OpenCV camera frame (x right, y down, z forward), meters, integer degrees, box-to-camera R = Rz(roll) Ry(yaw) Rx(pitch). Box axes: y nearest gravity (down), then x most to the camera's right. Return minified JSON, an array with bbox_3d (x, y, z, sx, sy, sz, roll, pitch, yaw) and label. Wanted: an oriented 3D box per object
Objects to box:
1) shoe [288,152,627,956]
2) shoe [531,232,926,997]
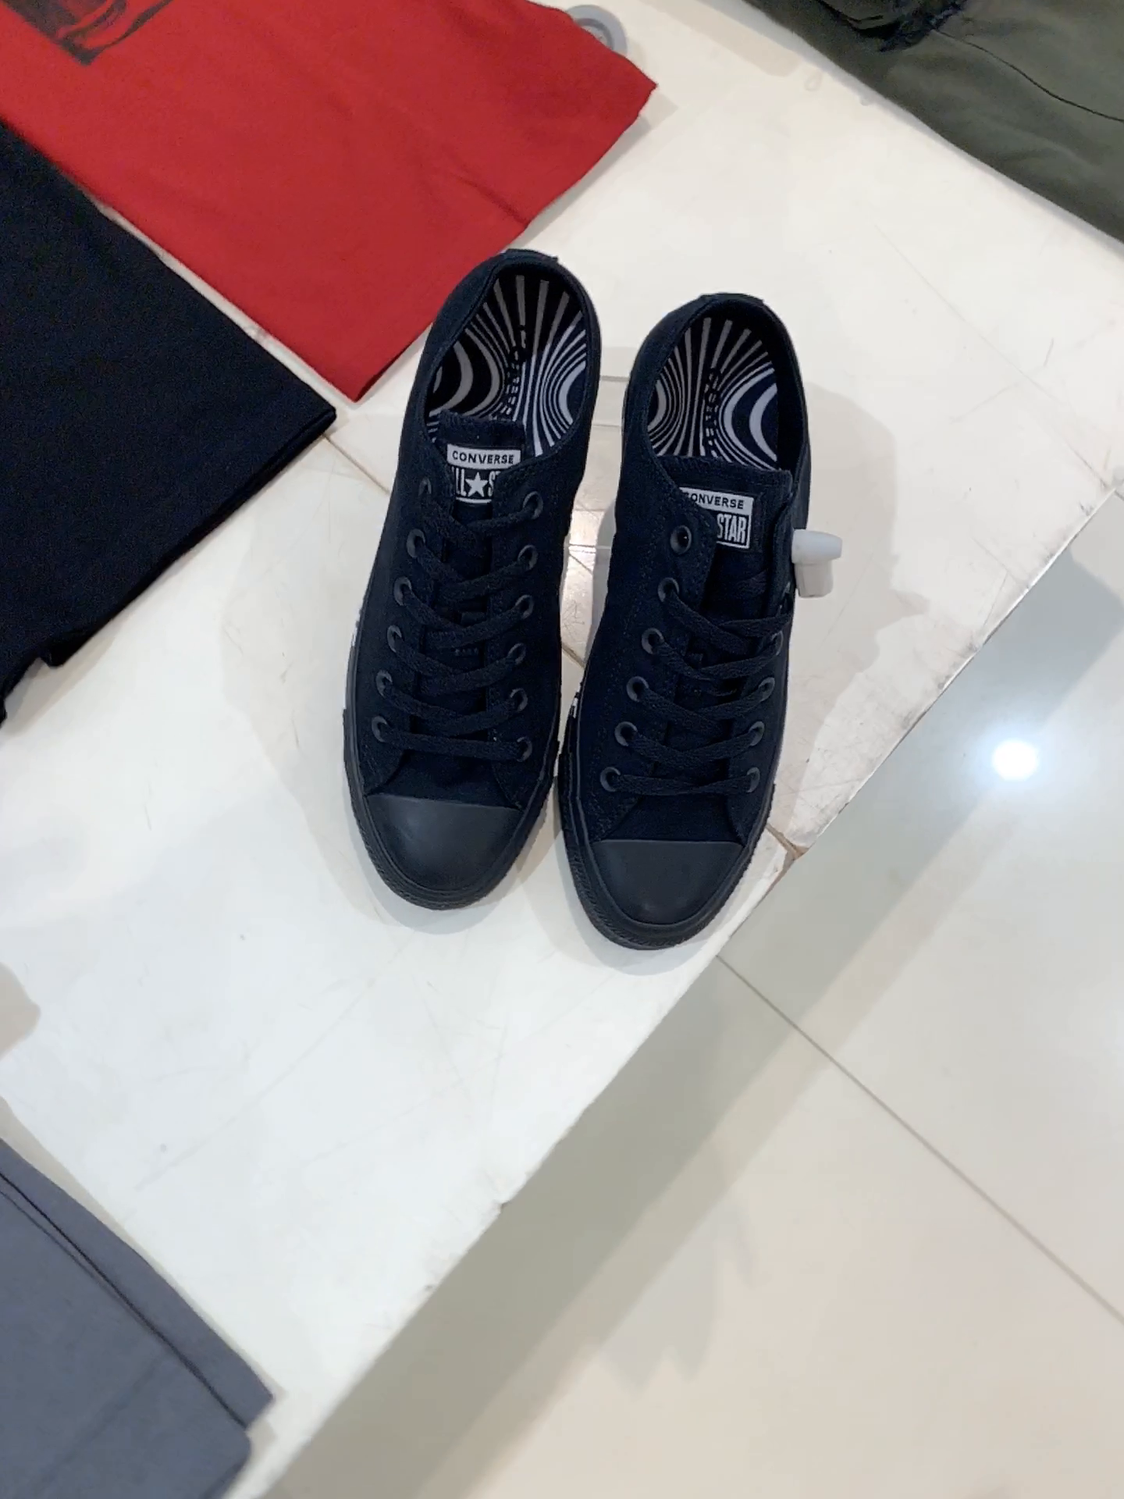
[{"bbox_3d":[-0.048,-0.073,0.484,0.090,0.100,0.290,7,97,-9],"label":"shoe"},{"bbox_3d":[0.058,-0.050,0.475,0.100,0.100,0.270,8,98,-5],"label":"shoe"}]
